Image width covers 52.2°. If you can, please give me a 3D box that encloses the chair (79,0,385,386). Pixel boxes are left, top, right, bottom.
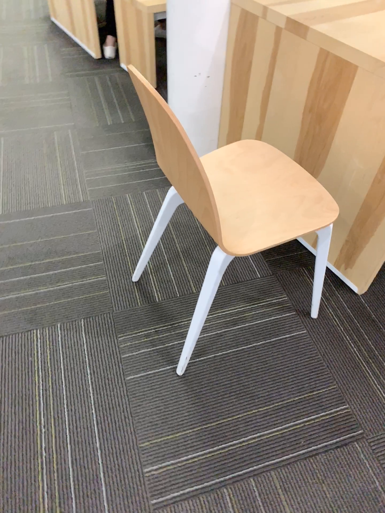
[{"bbox_3d":[0.101,-0.148,1.095,0.550,0.816,0.502,-20,52,-19],"label":"chair"}]
